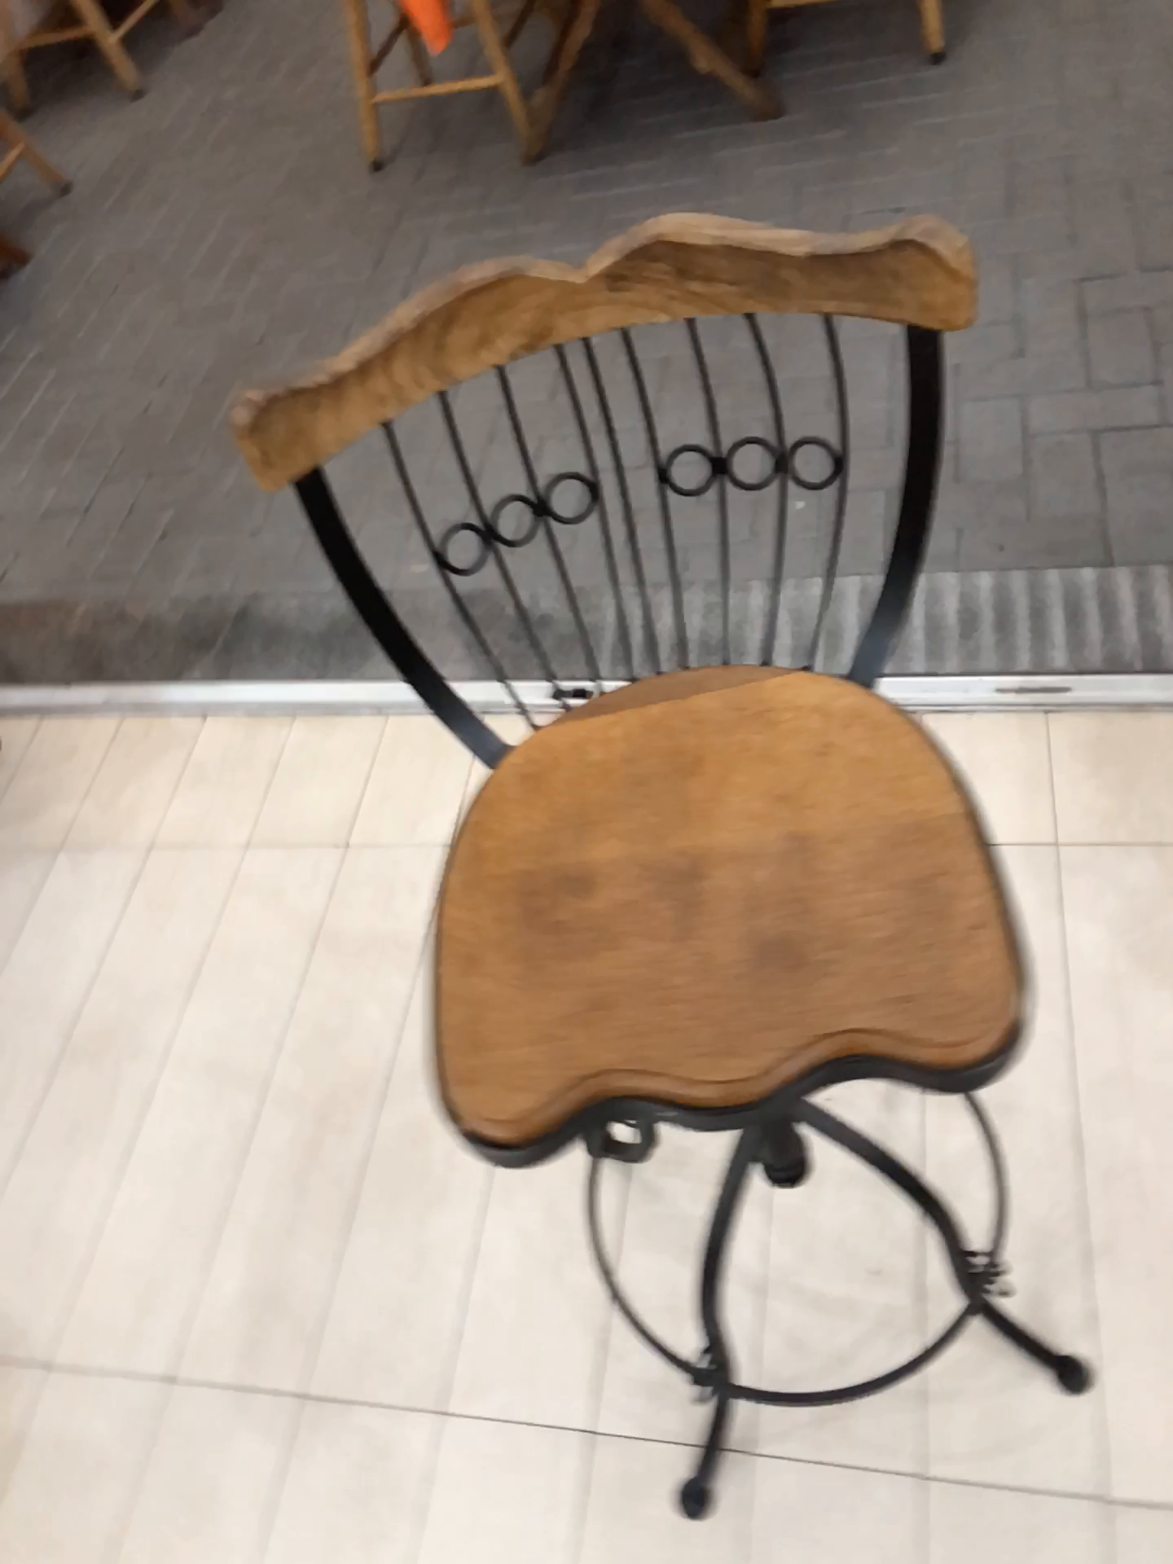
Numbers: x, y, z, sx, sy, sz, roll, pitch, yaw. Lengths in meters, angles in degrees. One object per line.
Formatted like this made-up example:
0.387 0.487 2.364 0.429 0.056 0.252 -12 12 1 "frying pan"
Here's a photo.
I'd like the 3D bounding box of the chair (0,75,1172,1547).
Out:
0.095 0.135 0.881 0.460 0.894 0.473 -13 48 7 "chair"
